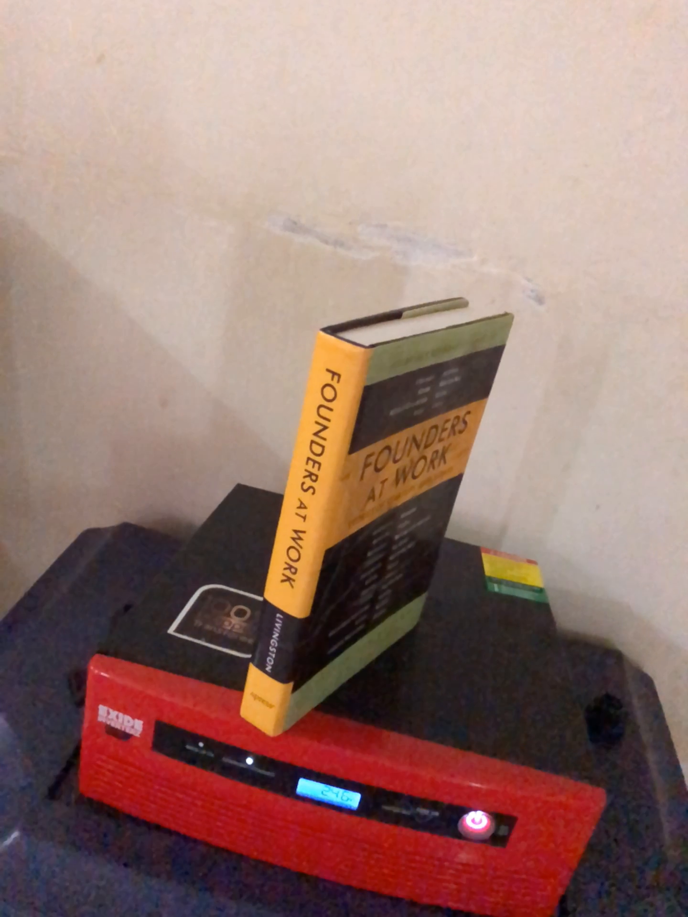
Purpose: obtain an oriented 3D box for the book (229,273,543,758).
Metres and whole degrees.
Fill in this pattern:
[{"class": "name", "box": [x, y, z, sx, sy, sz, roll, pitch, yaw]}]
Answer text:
[{"class": "book", "box": [0.025, 0.027, 0.449, 0.040, 0.249, 0.181, 28, 31, 28]}]
